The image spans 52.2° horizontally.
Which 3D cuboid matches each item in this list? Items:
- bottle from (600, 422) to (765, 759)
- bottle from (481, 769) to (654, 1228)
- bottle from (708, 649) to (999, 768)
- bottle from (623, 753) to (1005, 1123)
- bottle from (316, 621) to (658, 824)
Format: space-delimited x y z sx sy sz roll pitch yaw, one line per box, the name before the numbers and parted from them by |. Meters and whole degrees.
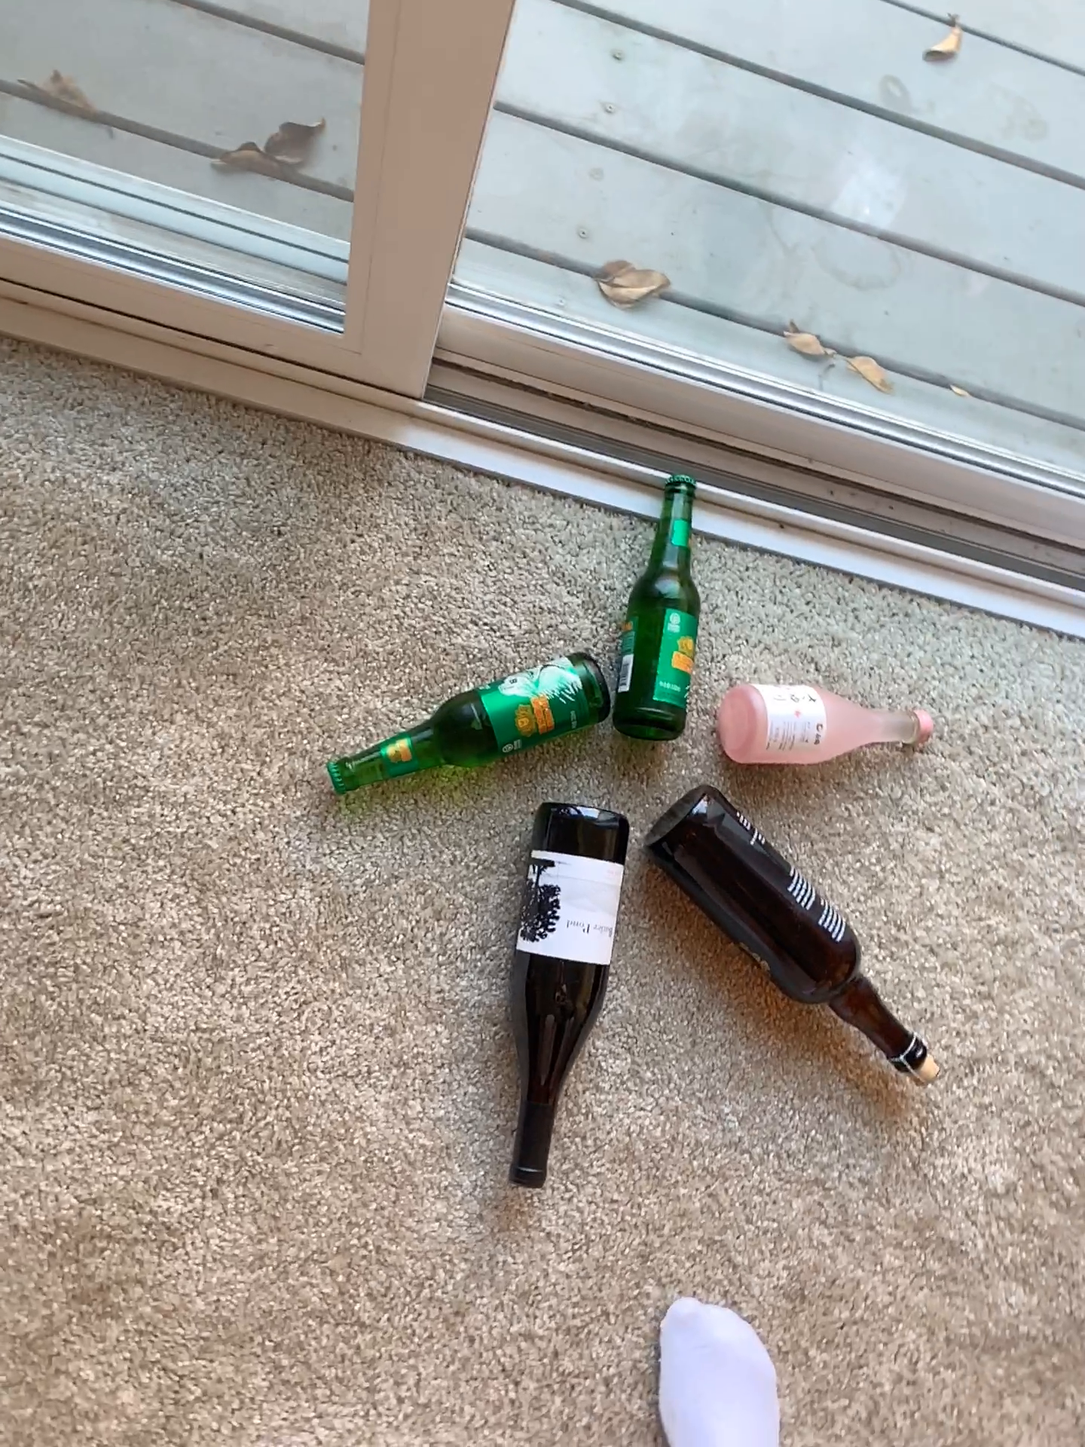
bottle | 0.114 -0.105 0.913 0.080 0.090 0.250 10 80 -10
bottle | 0.019 0.199 0.830 0.080 0.090 0.310 9 76 -11
bottle | 0.254 -0.010 0.922 0.210 0.090 0.080 1 80 -10
bottle | 0.211 0.170 0.886 0.310 0.090 0.080 46 74 1
bottle | -0.044 -0.001 0.852 0.240 0.090 0.070 -19 84 -17
